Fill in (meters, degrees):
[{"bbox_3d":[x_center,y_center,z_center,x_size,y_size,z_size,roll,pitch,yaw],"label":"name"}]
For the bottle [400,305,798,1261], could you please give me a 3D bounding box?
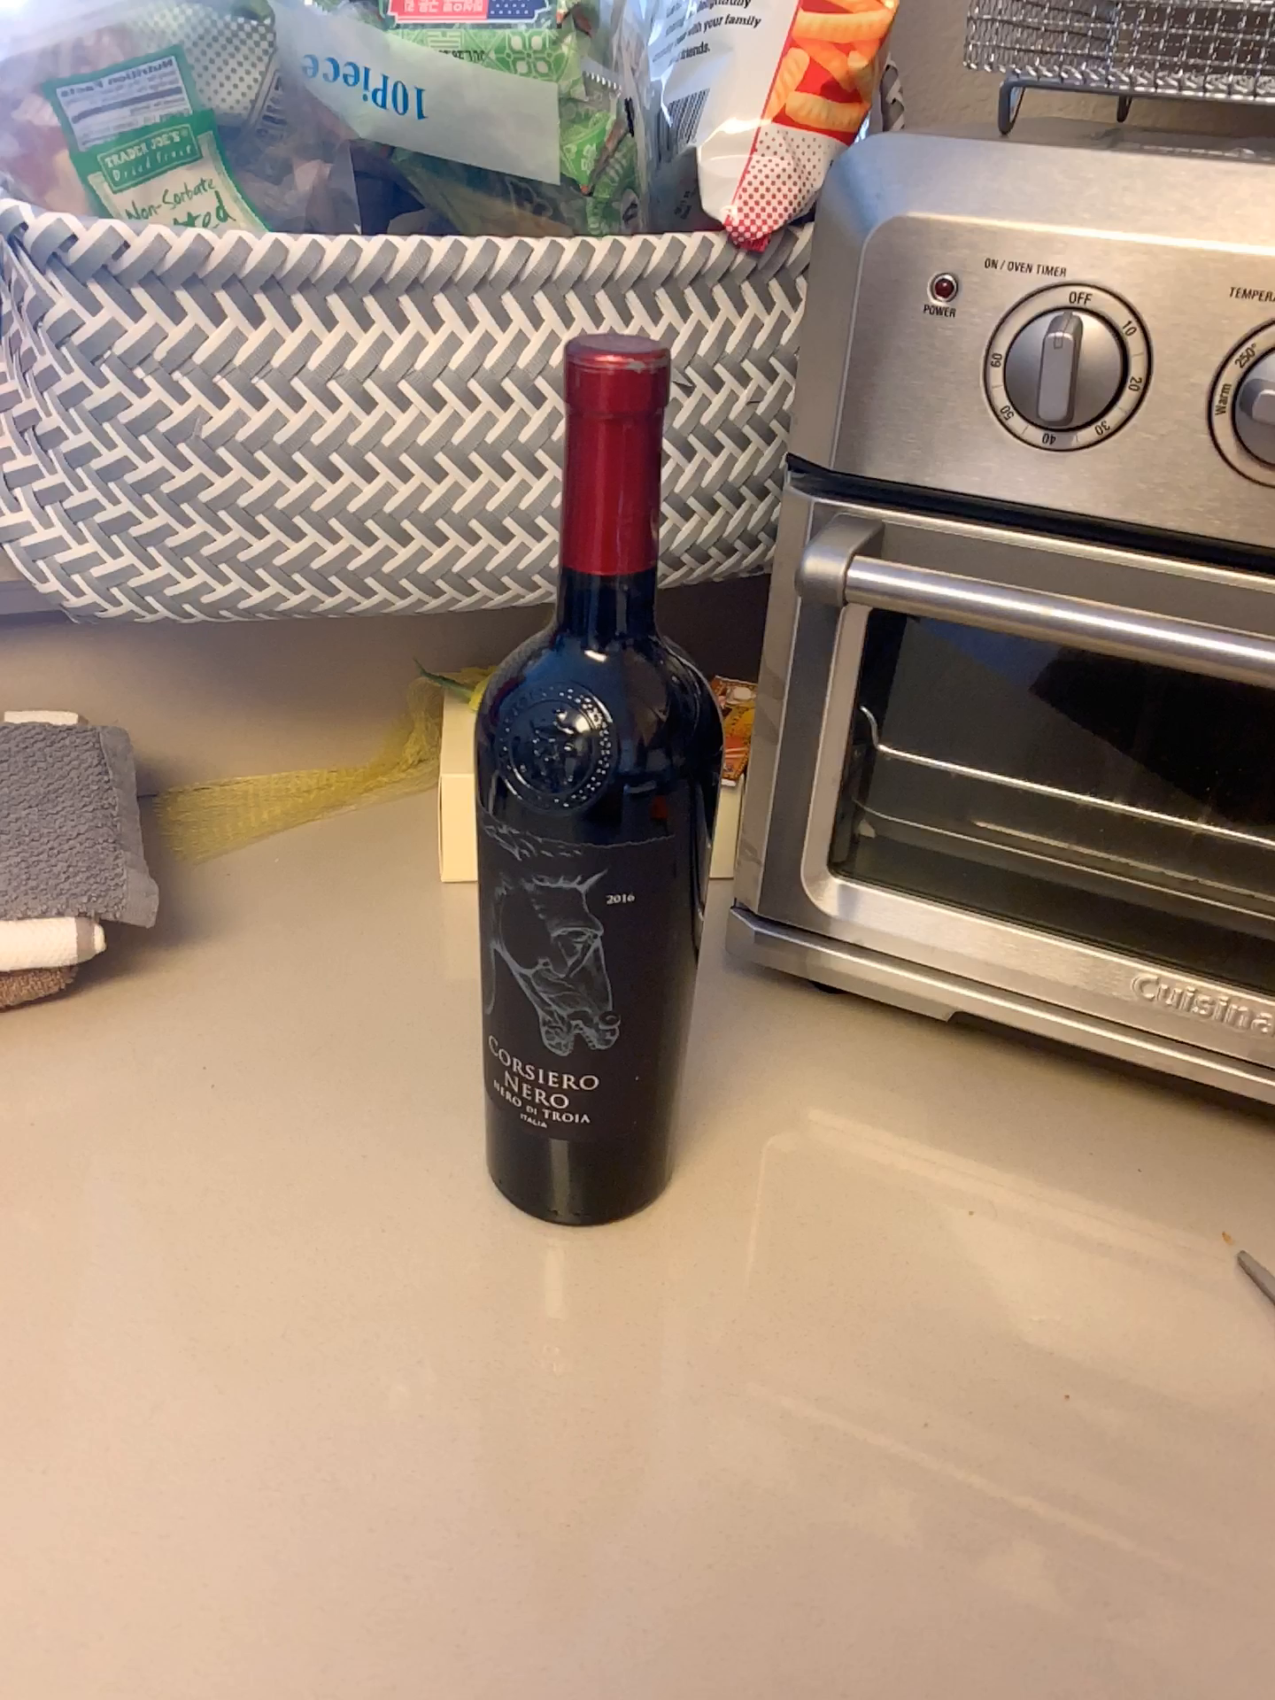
[{"bbox_3d":[-0.015,-0.009,0.402,0.080,0.278,0.070,14,32,17],"label":"bottle"}]
